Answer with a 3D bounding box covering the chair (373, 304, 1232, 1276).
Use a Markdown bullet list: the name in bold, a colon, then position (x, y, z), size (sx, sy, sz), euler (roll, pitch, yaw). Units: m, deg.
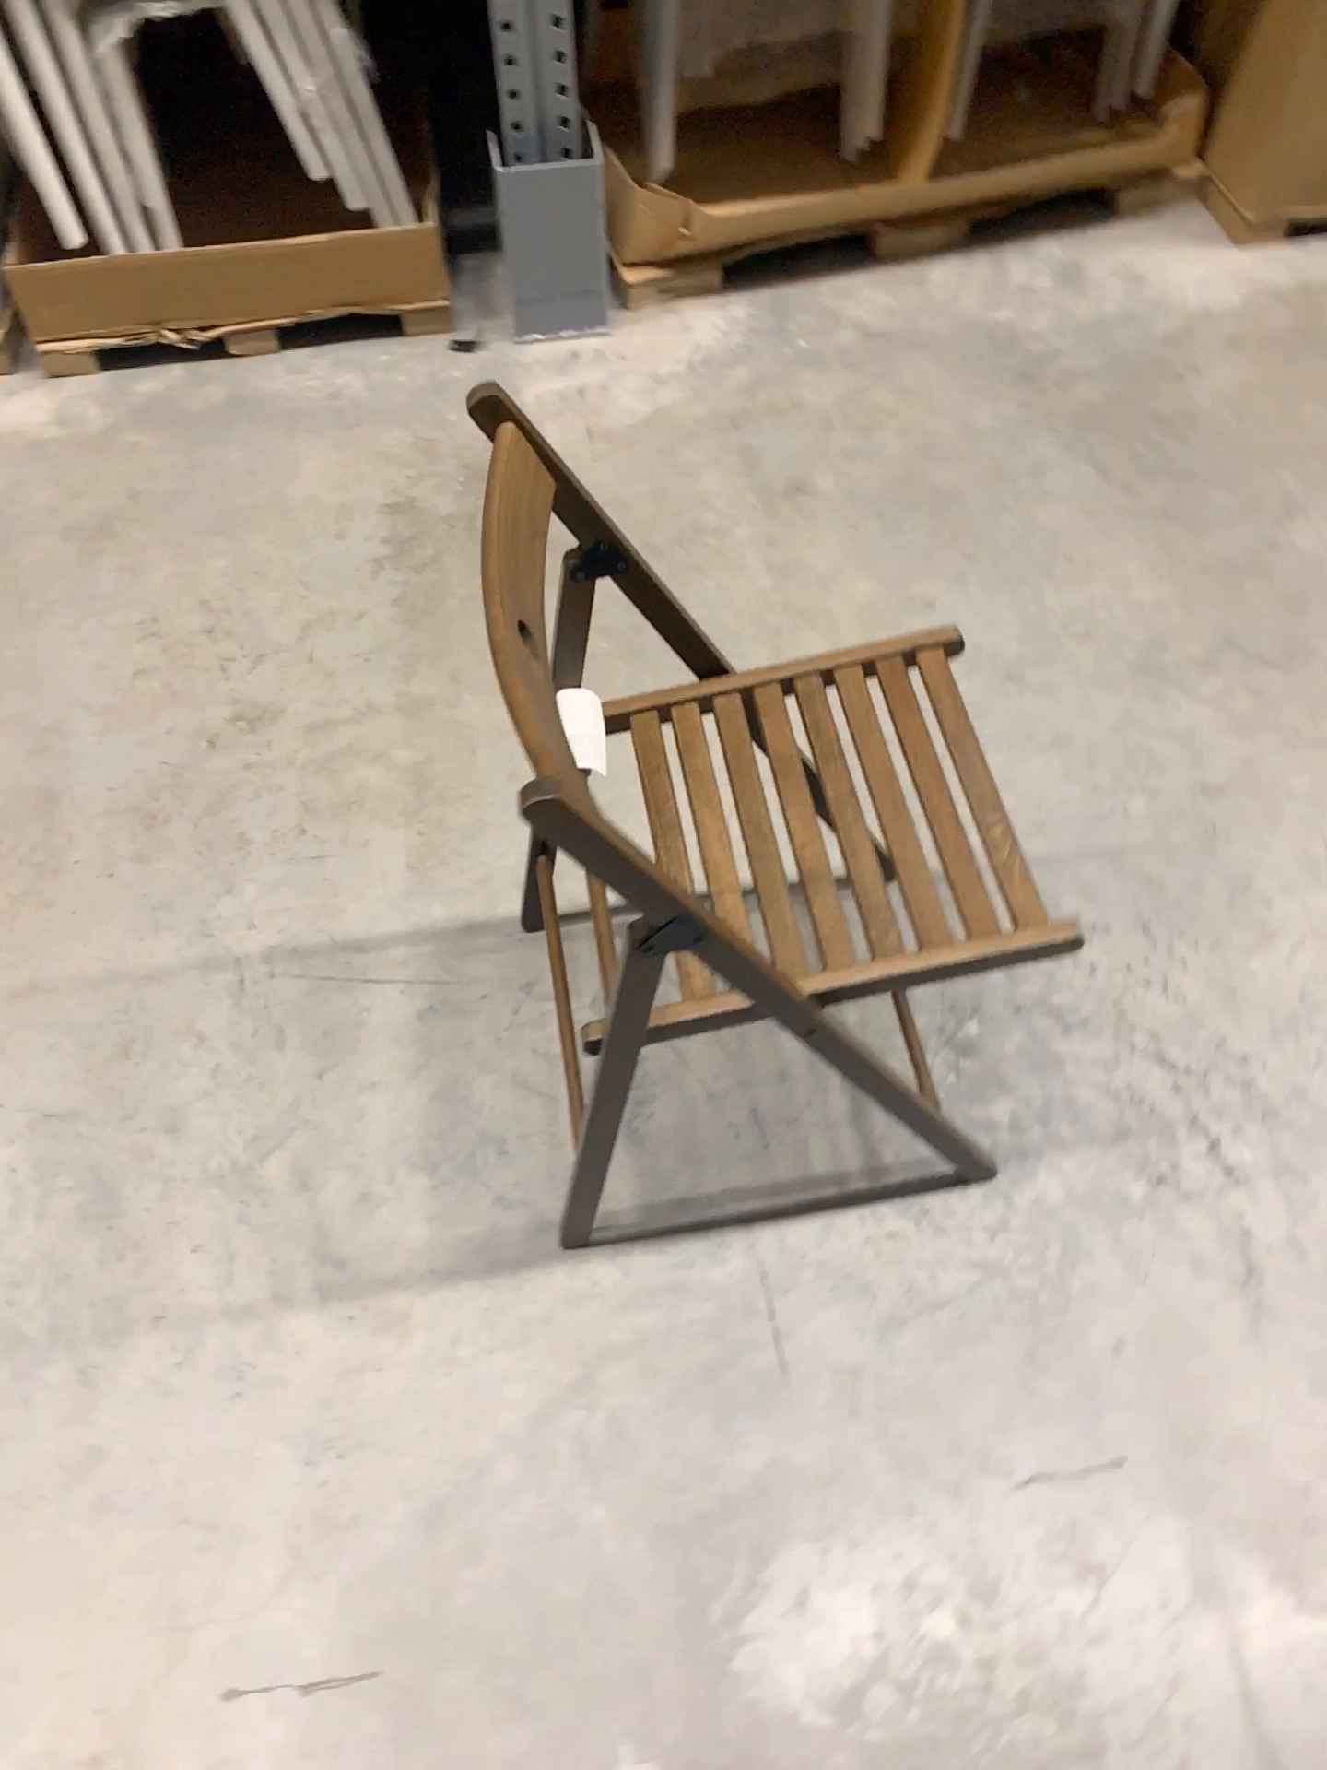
- **chair**: position (0.065, -0.041, 1.223), size (0.500, 0.698, 0.481), euler (-8, 55, -5)
